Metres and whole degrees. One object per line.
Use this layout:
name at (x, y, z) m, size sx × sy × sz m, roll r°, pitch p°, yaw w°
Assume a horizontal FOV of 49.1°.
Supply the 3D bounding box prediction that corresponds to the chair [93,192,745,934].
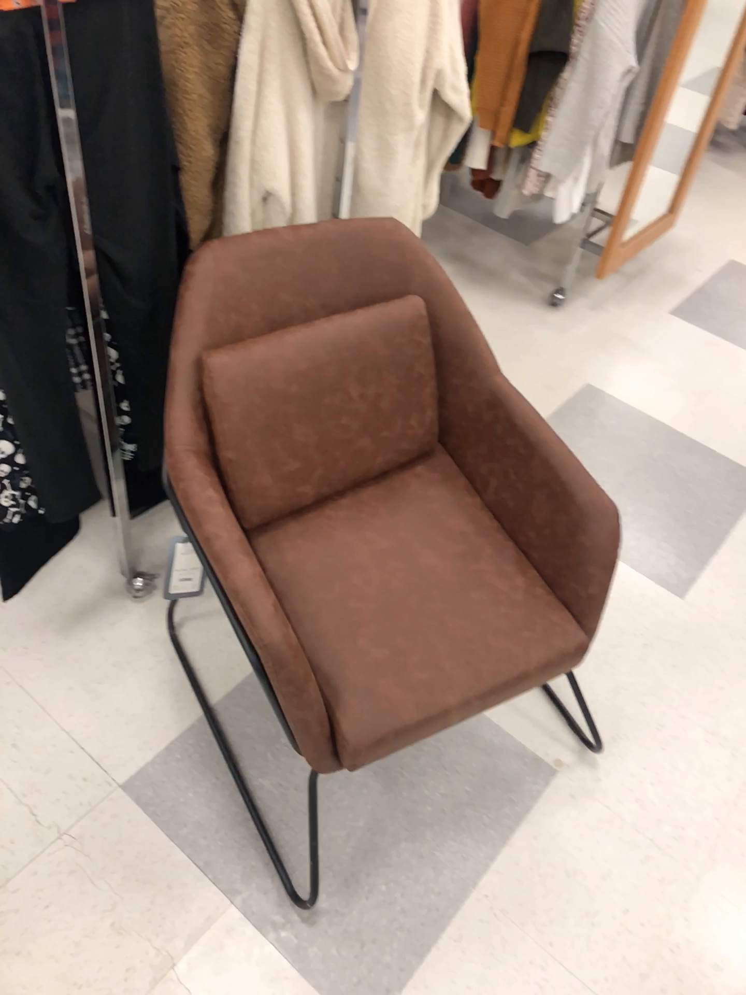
chair at (0.038, 0.083, 1.443) m, size 0.736 × 0.850 × 0.761 m, roll -17°, pitch 51°, yaw -24°
